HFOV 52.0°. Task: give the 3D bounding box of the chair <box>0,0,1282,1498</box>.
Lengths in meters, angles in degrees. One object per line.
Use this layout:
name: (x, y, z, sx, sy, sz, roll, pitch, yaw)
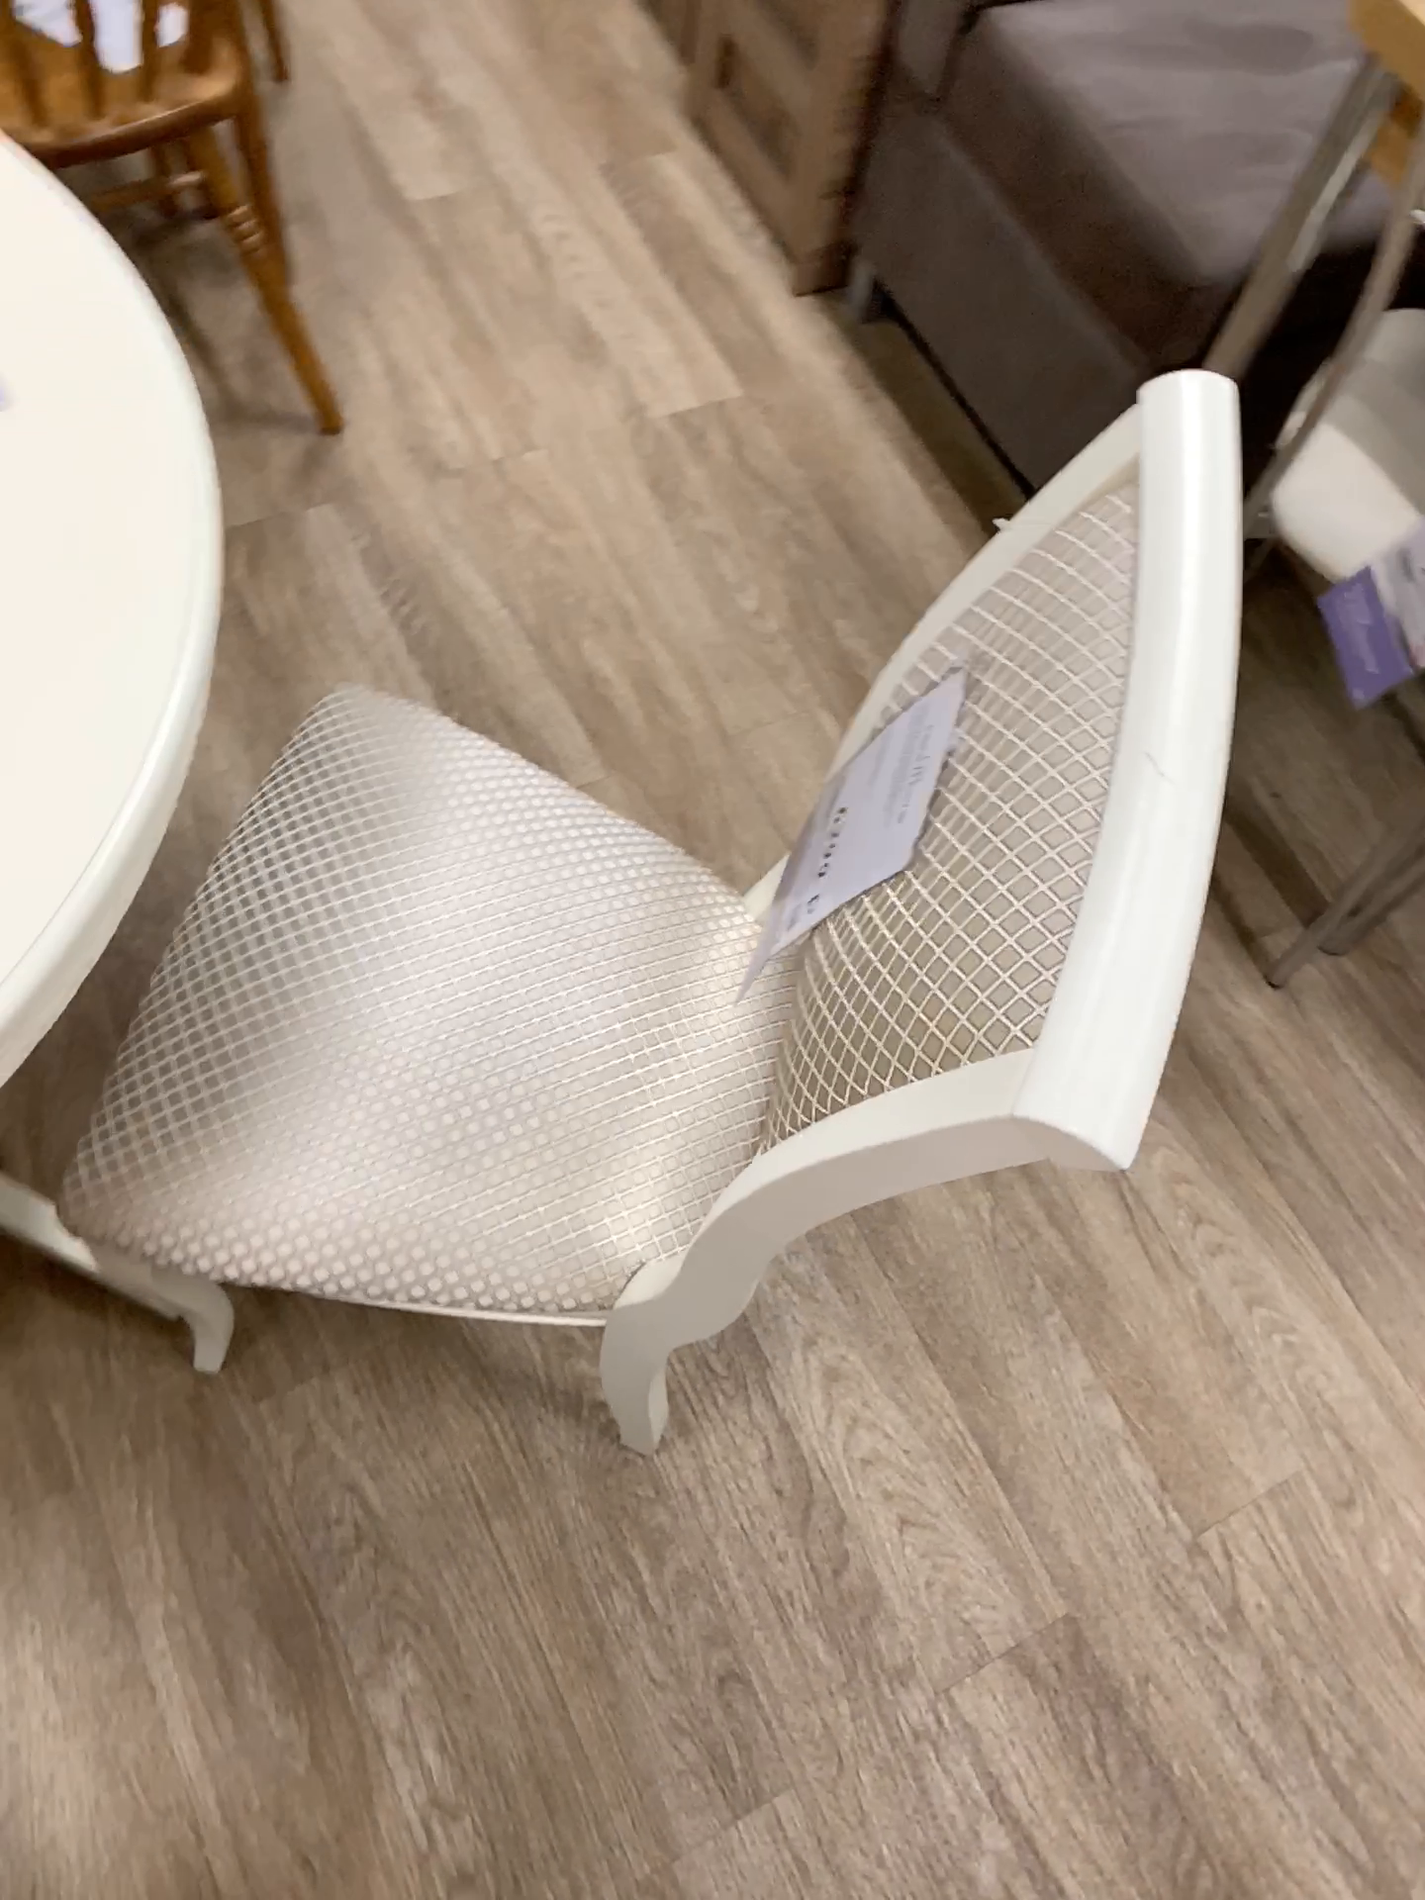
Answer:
chair: (-0.086, 0.011, 0.977, 0.510, 0.907, 0.461, 14, 61, -2)
